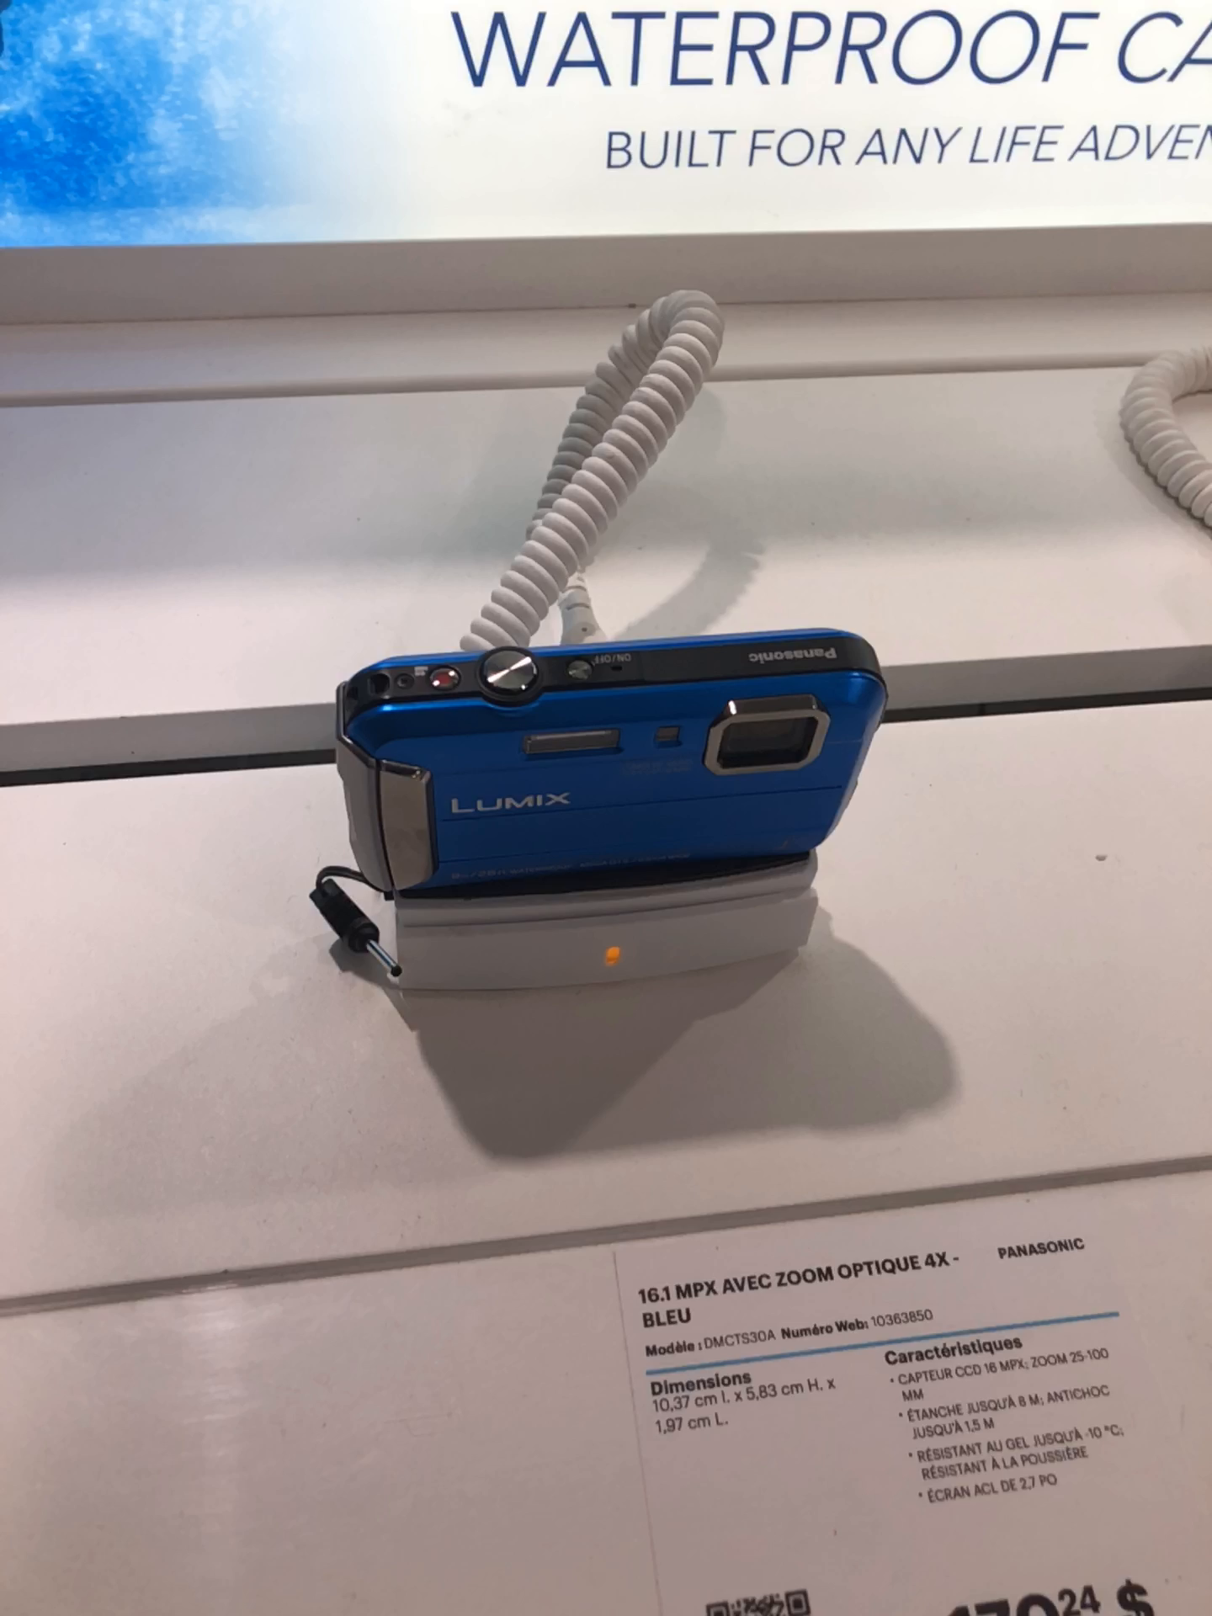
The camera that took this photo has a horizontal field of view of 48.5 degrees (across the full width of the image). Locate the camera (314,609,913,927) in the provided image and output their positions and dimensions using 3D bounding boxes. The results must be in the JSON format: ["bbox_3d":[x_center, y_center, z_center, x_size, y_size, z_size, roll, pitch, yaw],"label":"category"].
[{"bbox_3d":[0.000,-0.007,0.265,0.106,0.060,0.020,-5,53,-8],"label":"camera"}]
